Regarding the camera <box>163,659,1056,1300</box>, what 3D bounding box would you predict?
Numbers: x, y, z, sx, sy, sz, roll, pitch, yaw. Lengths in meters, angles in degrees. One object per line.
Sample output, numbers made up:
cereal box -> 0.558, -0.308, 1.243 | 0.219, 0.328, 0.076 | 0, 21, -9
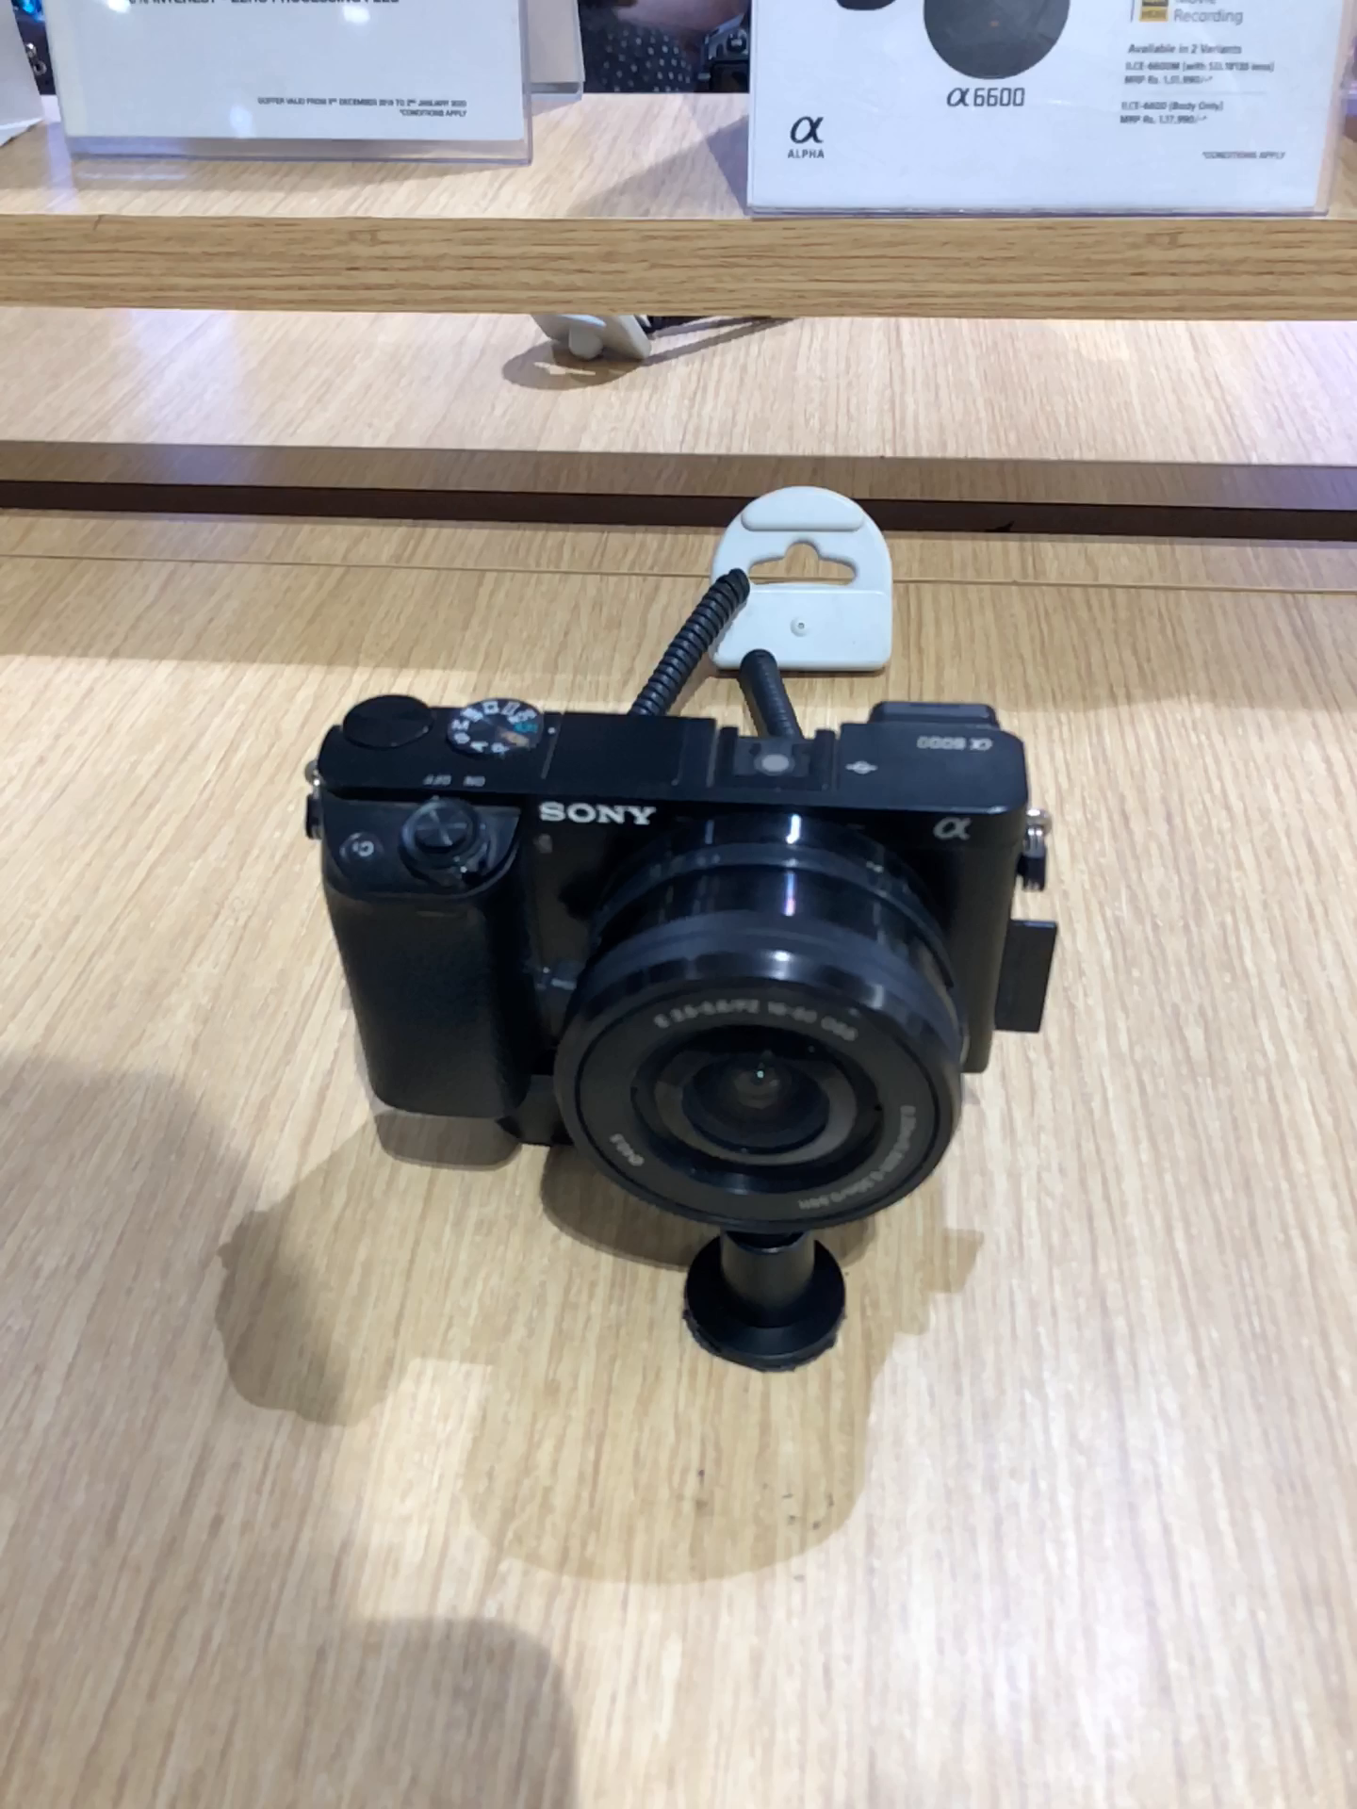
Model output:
camera -> -0.006, 0.010, 0.223 | 0.107, 0.070, 0.059 | 2, 41, 4
